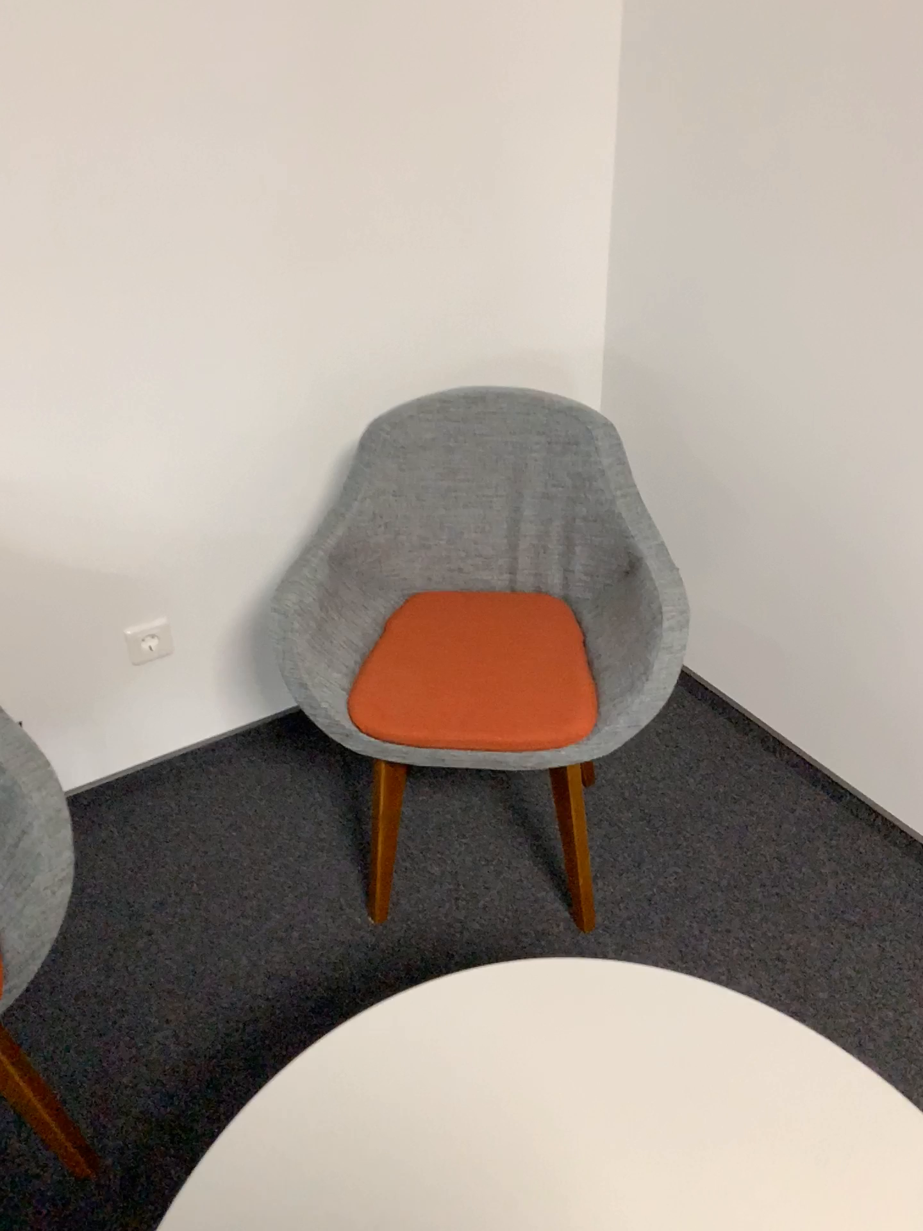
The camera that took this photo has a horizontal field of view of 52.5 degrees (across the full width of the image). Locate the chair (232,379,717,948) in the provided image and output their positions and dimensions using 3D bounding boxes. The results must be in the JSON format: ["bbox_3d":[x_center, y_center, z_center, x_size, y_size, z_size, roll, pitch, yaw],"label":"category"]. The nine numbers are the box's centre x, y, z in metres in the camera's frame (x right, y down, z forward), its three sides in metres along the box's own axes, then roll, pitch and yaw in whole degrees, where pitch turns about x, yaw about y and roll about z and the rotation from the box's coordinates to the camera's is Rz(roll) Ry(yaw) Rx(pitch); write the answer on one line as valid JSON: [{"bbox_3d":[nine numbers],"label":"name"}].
[{"bbox_3d":[0.044,0.080,1.643,0.630,0.835,0.503,2,33,6],"label":"chair"}]
